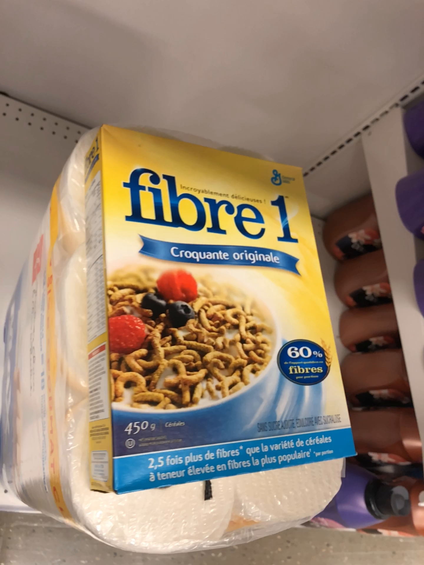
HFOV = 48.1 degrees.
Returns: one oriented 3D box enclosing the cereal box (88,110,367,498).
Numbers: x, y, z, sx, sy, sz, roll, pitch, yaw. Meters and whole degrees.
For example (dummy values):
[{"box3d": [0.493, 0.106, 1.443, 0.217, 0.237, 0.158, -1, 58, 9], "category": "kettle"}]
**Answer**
[{"box3d": [0.009, 0.014, 0.382, 0.201, 0.060, 0.260, 4, 73, -28], "category": "cereal box"}]
